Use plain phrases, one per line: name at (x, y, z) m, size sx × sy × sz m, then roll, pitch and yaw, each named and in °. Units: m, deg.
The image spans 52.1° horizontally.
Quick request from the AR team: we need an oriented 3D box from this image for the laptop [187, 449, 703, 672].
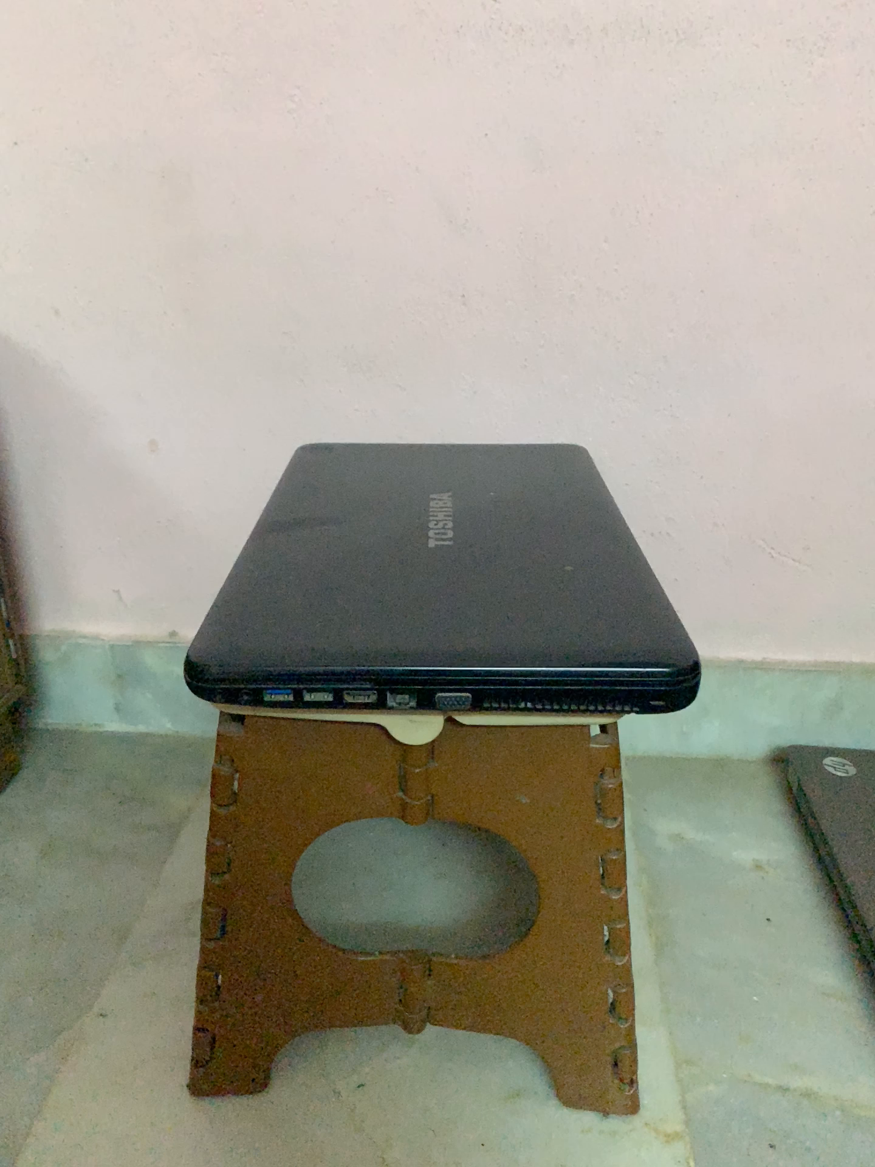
laptop at (0.003, -0.036, 0.579) m, size 0.236 × 0.001 × 0.370 m, roll 0°, pitch 24°, yaw 0°
